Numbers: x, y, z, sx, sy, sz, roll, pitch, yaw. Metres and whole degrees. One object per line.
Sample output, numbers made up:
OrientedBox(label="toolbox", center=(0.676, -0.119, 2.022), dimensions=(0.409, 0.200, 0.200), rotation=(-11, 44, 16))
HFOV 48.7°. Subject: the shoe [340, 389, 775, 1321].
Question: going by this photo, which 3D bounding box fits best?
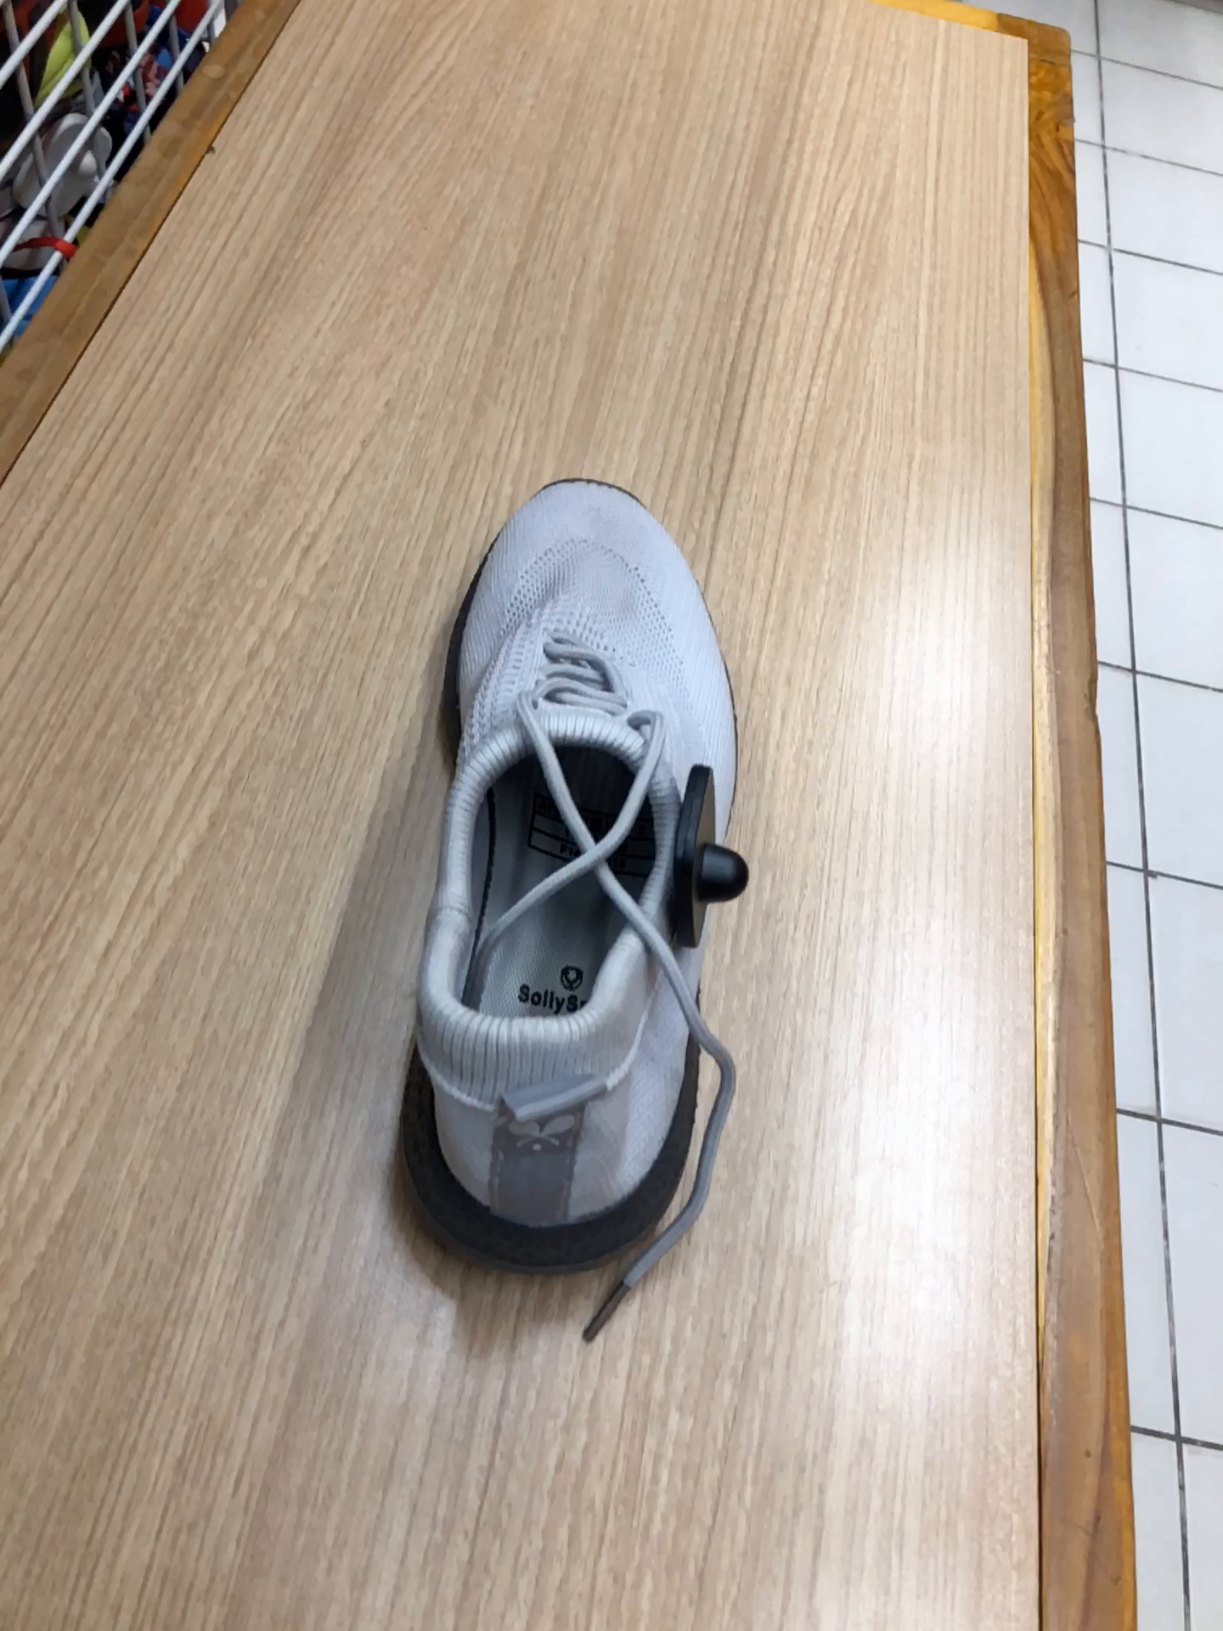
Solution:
OrientedBox(label="shoe", center=(-0.011, 0.002, 0.424), dimensions=(0.100, 0.099, 0.272), rotation=(7, 56, -5))
